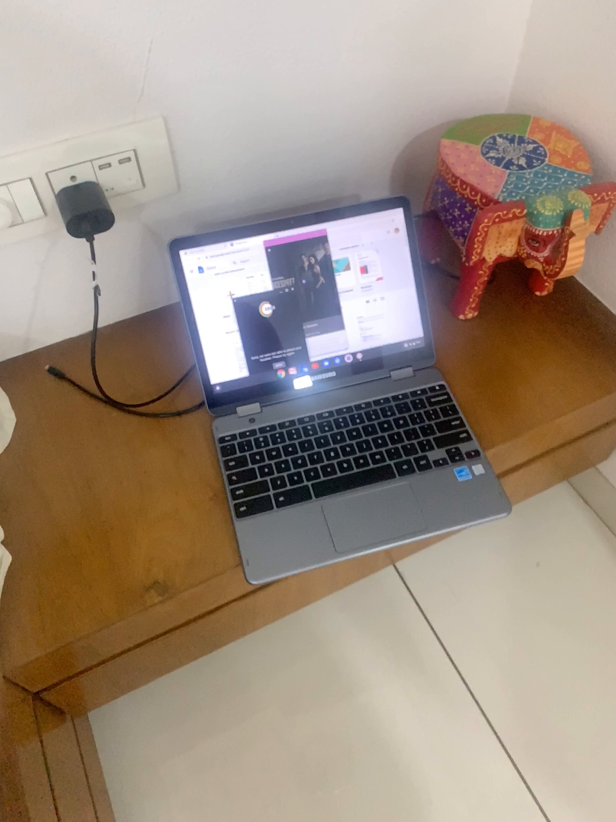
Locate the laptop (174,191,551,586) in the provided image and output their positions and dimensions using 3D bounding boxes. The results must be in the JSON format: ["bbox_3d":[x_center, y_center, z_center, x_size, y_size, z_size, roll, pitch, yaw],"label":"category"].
[{"bbox_3d":[0.036,-0.045,0.764,0.314,0.164,0.384,-14,57,-8],"label":"laptop"}]
